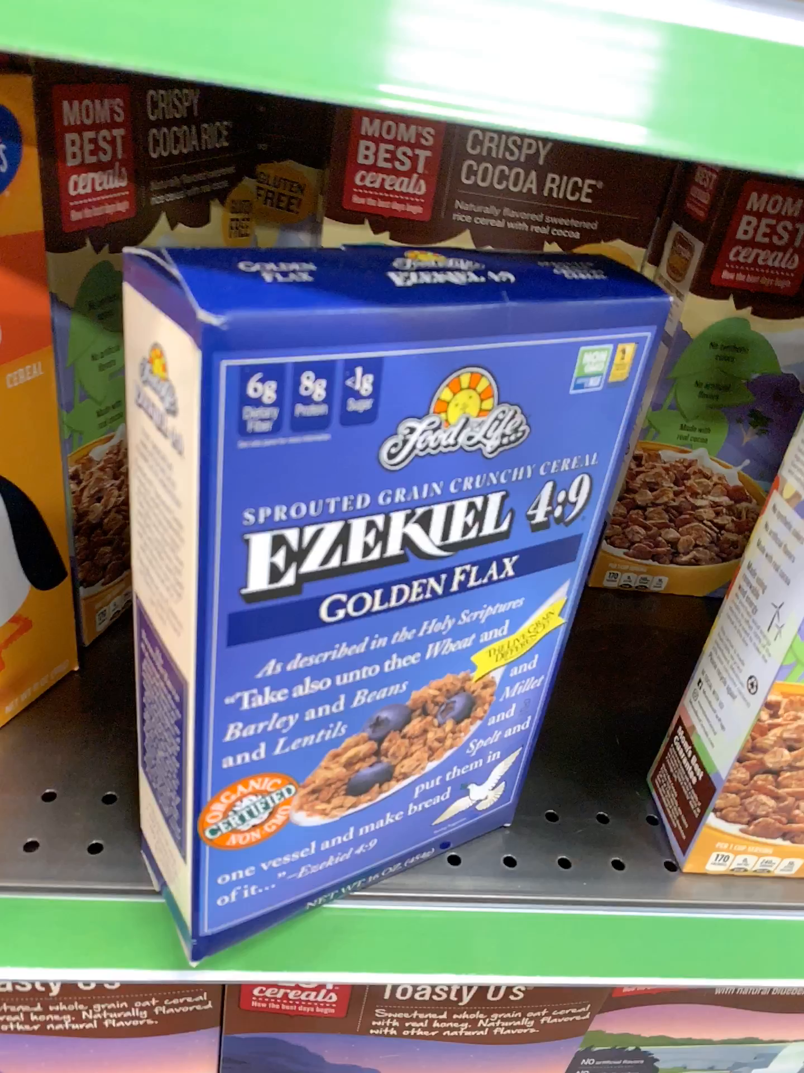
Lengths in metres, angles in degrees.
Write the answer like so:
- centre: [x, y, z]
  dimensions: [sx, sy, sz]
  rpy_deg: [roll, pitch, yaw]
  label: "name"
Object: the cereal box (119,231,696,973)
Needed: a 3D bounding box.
- centre: [-0.008, 0.026, 0.301]
  dimensions: [0.160, 0.249, 0.060]
  rpy_deg: [-11, 36, -30]
  label: "cereal box"
